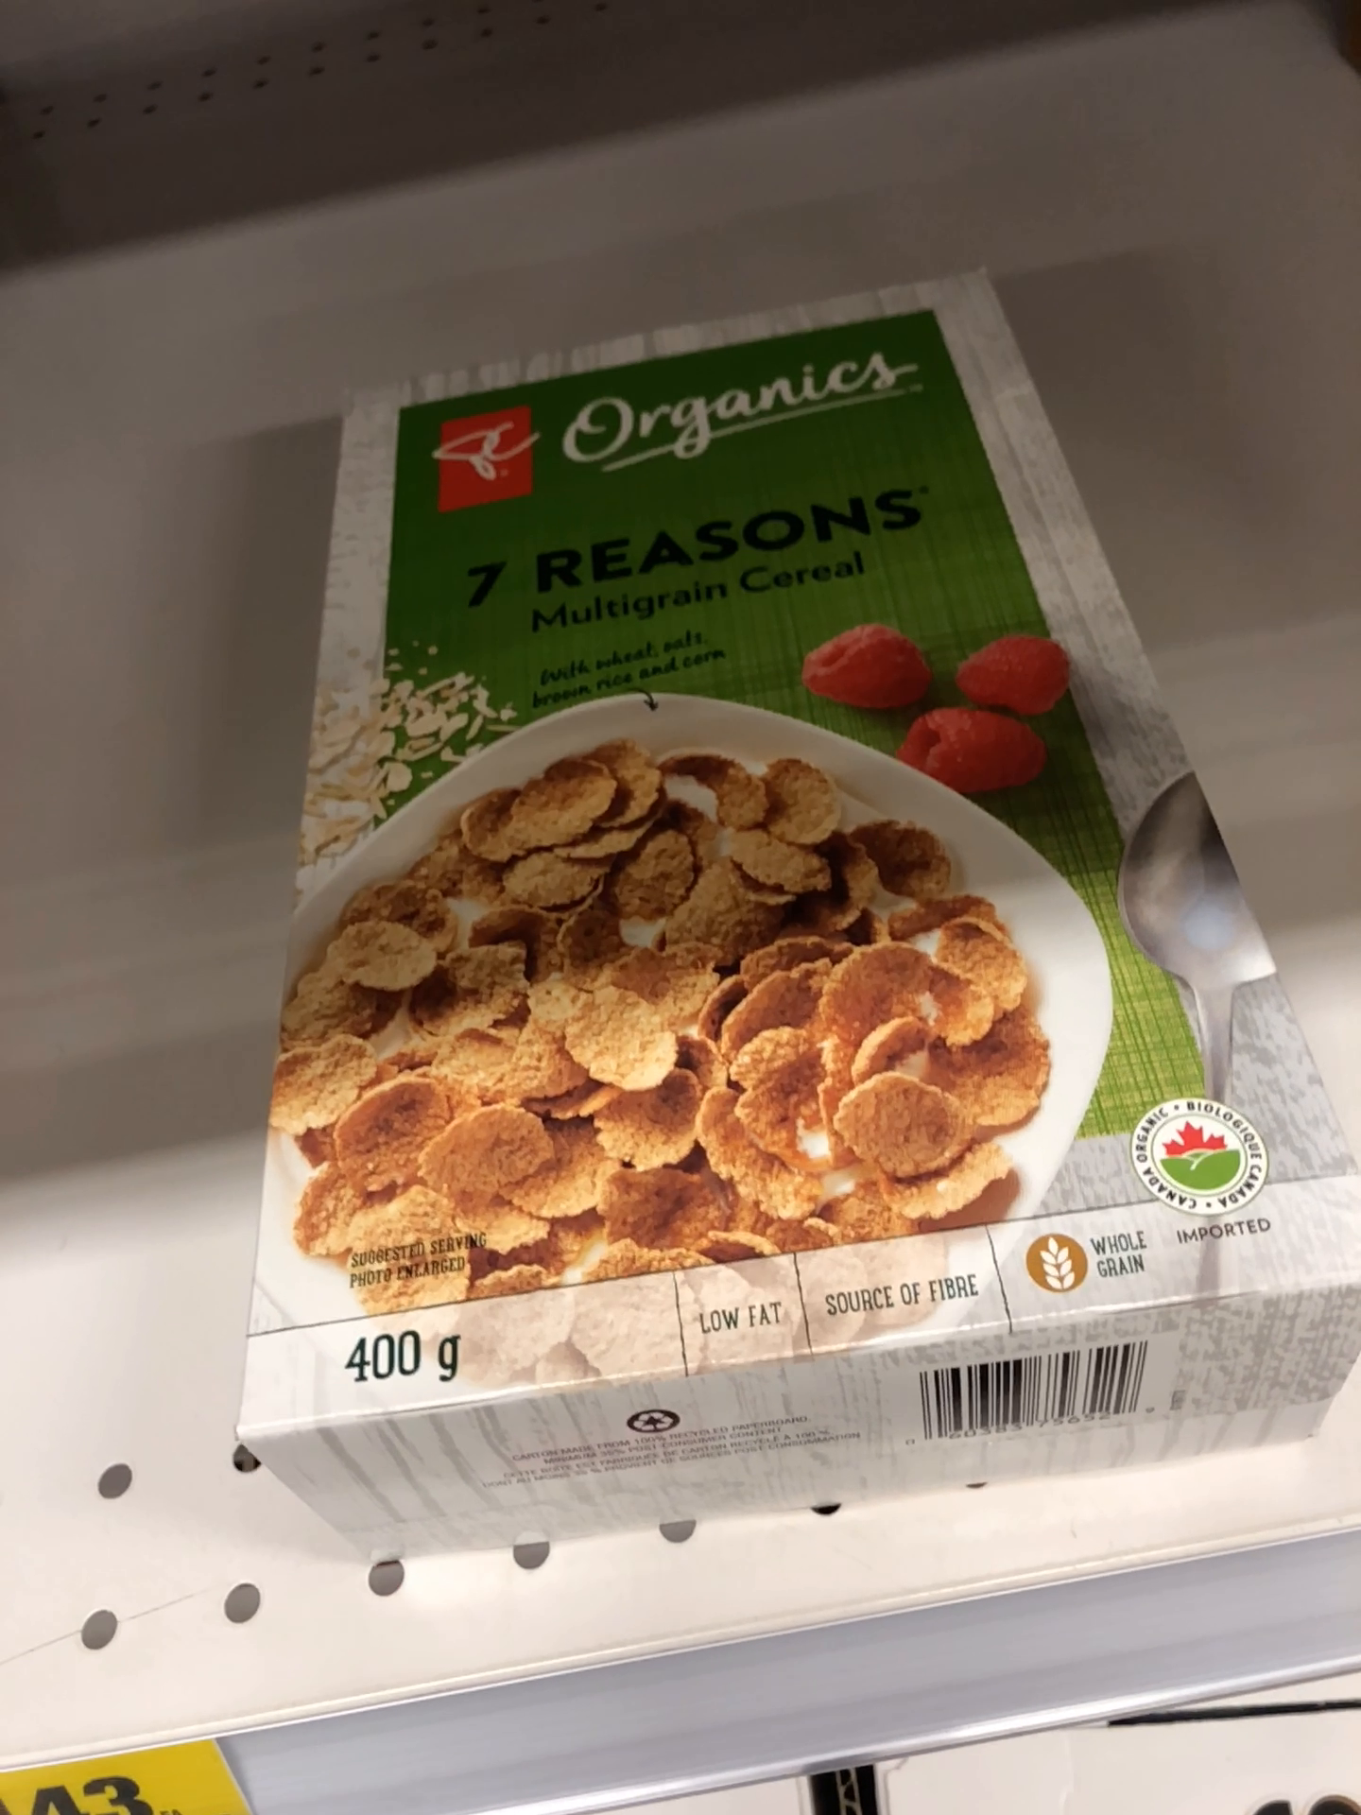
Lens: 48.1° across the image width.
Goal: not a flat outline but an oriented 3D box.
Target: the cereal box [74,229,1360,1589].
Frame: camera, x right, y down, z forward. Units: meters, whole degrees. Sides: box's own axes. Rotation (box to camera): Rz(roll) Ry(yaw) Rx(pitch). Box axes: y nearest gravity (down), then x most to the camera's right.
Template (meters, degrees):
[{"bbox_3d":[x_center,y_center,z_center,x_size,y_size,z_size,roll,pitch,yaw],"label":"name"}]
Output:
[{"bbox_3d":[0.007,-0.024,0.295,0.180,0.060,0.261,-9,50,4],"label":"cereal box"}]
